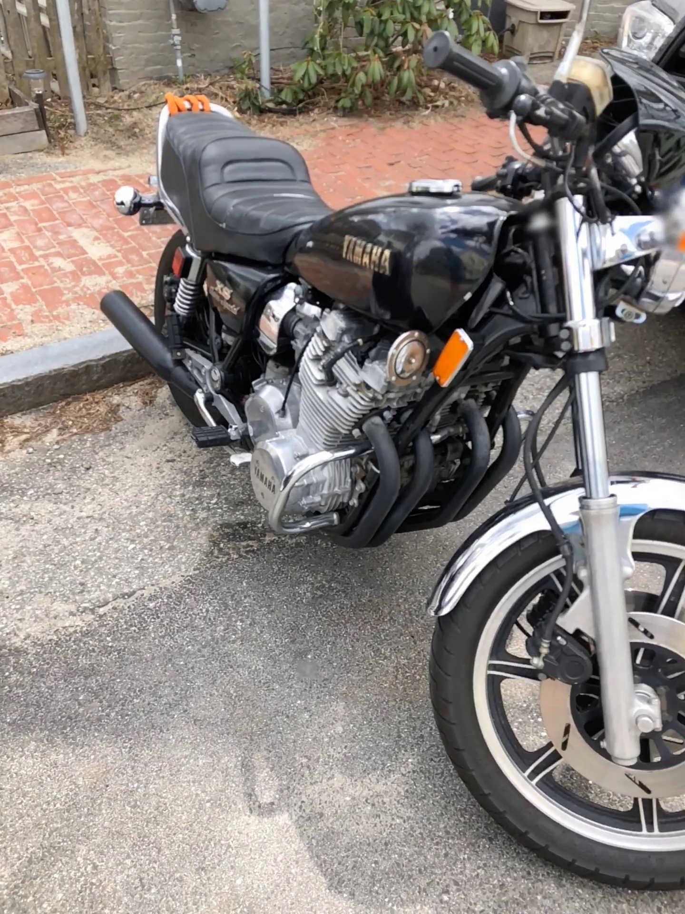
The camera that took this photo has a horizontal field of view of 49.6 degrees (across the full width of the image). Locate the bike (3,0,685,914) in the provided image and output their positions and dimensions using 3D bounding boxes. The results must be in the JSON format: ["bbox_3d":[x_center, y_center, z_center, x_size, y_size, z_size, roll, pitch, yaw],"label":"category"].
[{"bbox_3d":[0.152,-0.232,1.551,0.711,1.157,1.972,-24,45,-32],"label":"bike"}]
